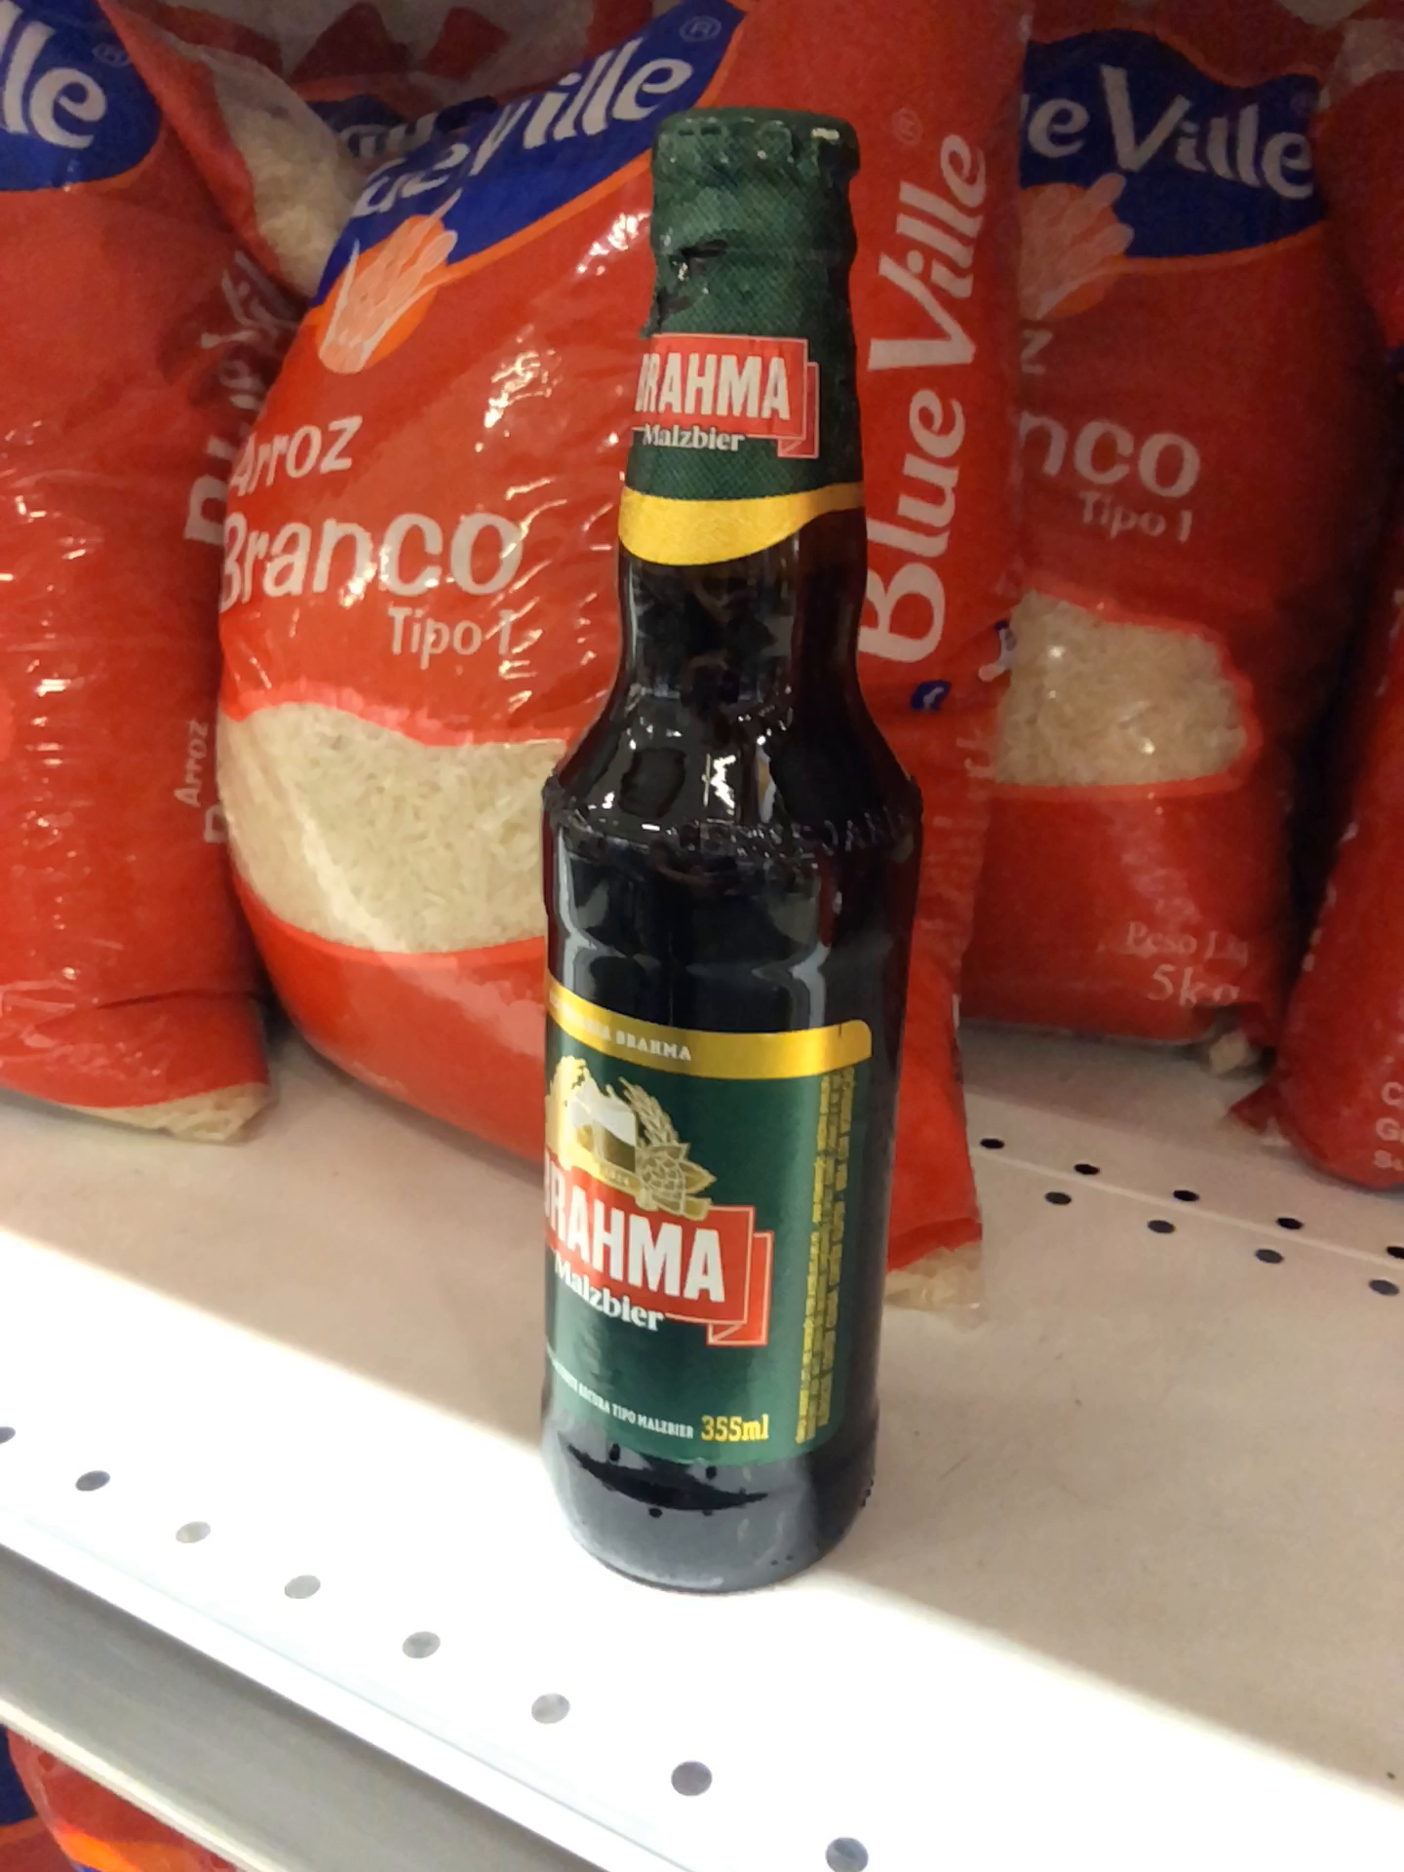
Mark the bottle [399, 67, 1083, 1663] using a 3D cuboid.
[{"bbox_3d":[0.005,-0.005,0.252,0.070,0.228,0.060,14,26,29],"label":"bottle"}]
